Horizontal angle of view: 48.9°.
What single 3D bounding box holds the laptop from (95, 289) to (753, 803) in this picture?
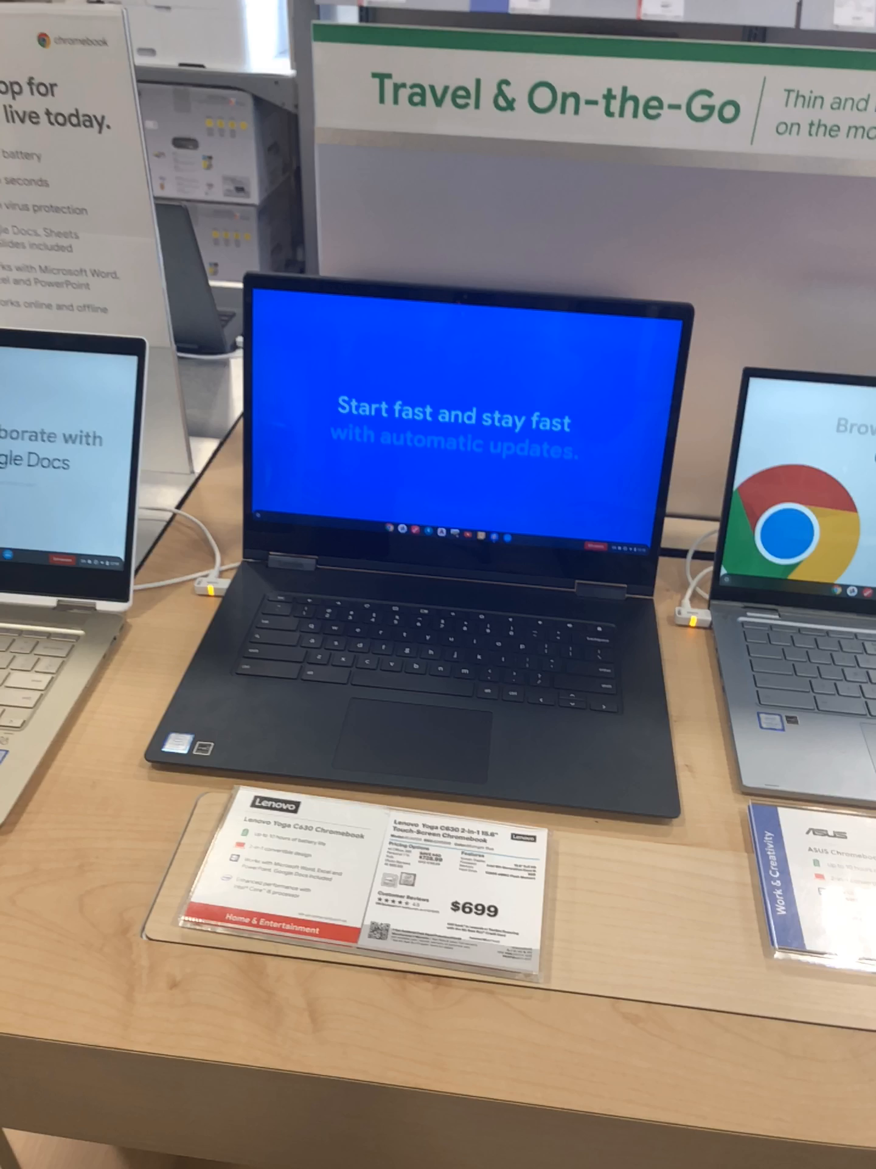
[{"bbox_3d":[0.005,-0.046,0.686,0.343,0.230,0.293,5,34,5],"label":"laptop"}]
